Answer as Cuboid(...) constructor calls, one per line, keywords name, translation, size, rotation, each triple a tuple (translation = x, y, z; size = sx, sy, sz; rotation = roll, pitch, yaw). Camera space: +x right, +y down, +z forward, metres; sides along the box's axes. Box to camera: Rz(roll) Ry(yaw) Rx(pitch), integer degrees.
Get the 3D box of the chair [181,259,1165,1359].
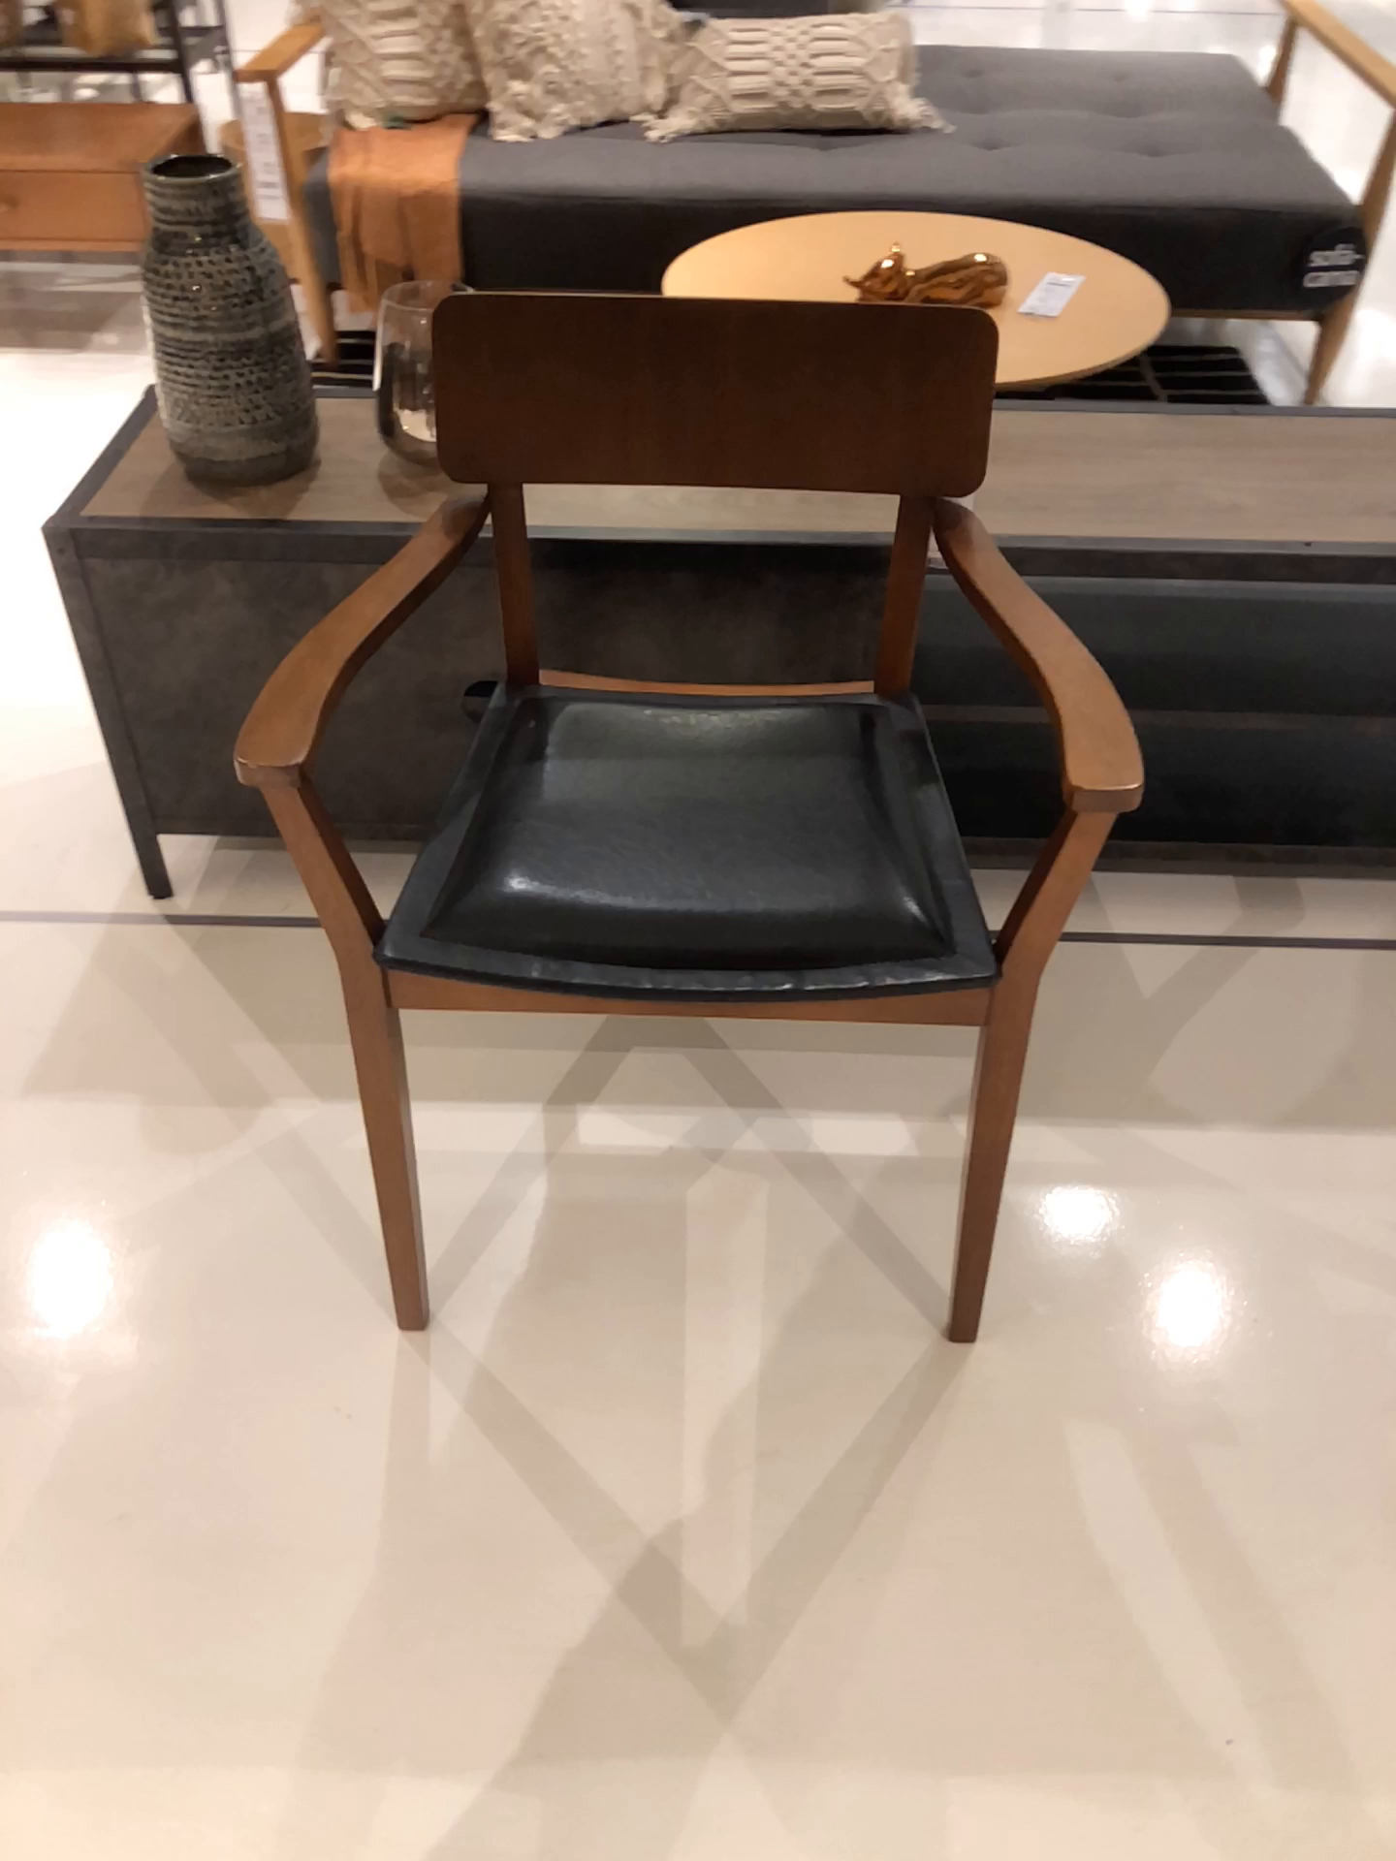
Cuboid(name="chair", translation=(-0.012, -0.098, 1.331), size=(0.560, 0.744, 0.575), rotation=(1, 41, 1))
